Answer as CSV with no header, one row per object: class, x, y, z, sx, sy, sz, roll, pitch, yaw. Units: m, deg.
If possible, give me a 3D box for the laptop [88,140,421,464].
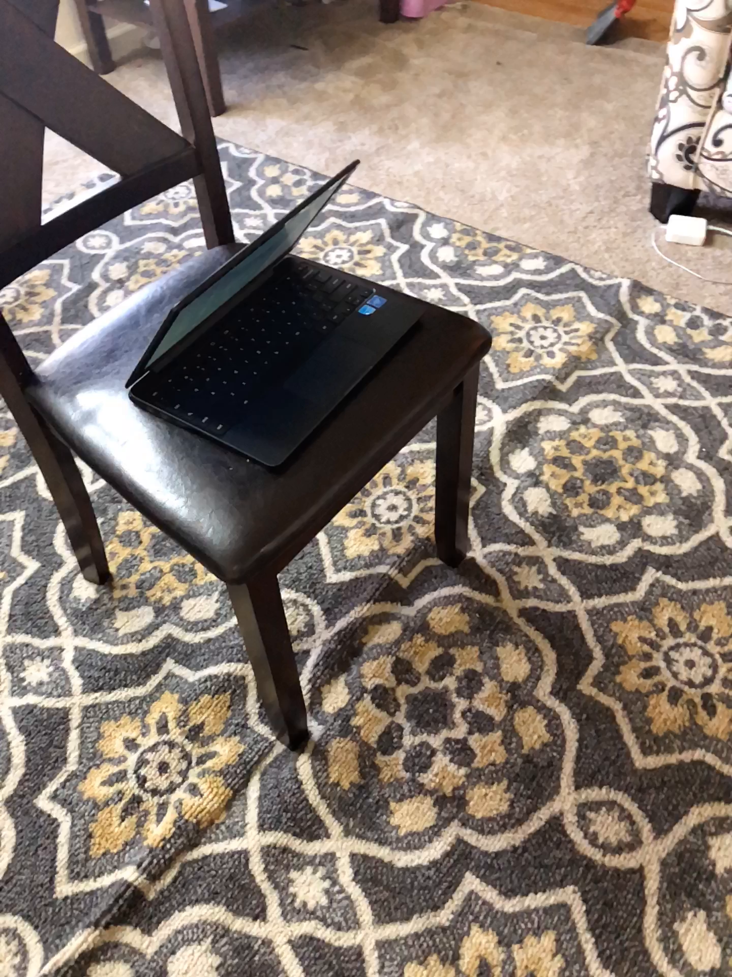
laptop,-0.095,-0.198,0.813,0.192,0.155,0.263,26,54,22
